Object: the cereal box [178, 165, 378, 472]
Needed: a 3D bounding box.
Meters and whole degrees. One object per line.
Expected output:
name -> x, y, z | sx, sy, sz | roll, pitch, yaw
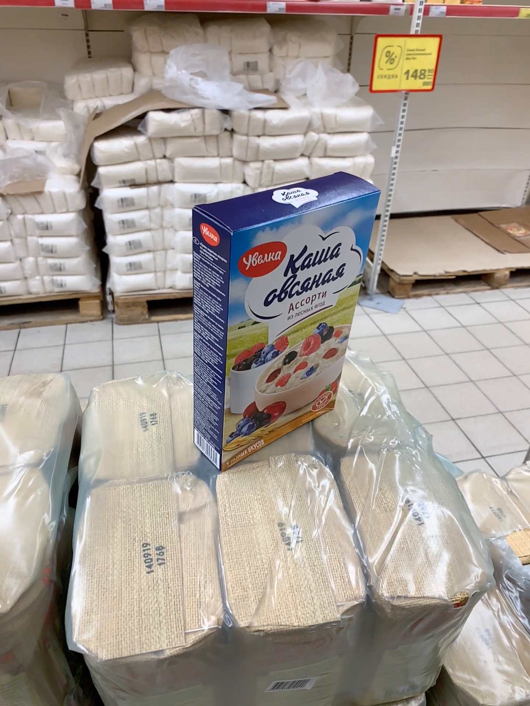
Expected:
cereal box -> 0.006, -0.025, 0.411 | 0.131, 0.198, 0.050 | -25, 45, -34
